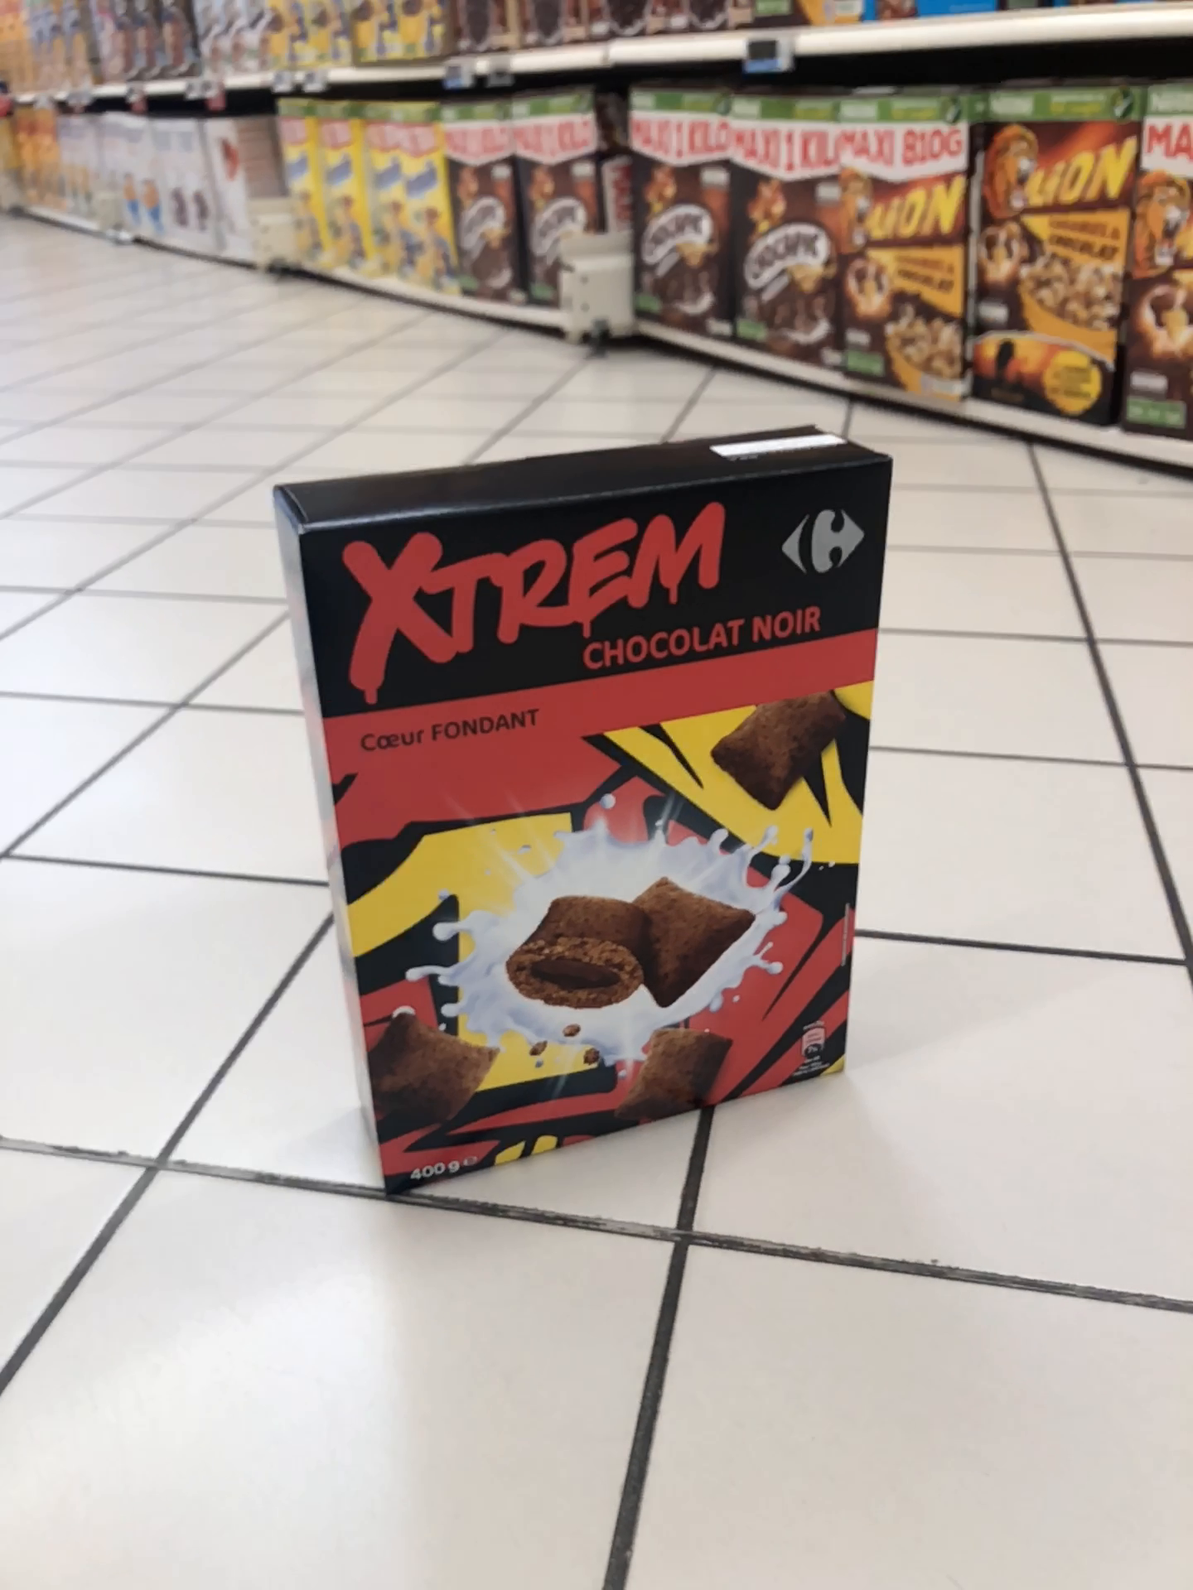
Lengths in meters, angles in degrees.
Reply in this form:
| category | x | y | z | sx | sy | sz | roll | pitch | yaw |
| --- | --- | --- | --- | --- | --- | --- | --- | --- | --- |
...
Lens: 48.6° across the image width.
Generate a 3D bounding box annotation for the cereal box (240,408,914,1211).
| category | x | y | z | sx | sy | sz | roll | pitch | yaw |
| --- | --- | --- | --- | --- | --- | --- | --- | --- | --- |
| cereal box | -0.003 | 0.005 | 0.471 | 0.200 | 0.249 | 0.070 | -10 | 28 | -16 |
